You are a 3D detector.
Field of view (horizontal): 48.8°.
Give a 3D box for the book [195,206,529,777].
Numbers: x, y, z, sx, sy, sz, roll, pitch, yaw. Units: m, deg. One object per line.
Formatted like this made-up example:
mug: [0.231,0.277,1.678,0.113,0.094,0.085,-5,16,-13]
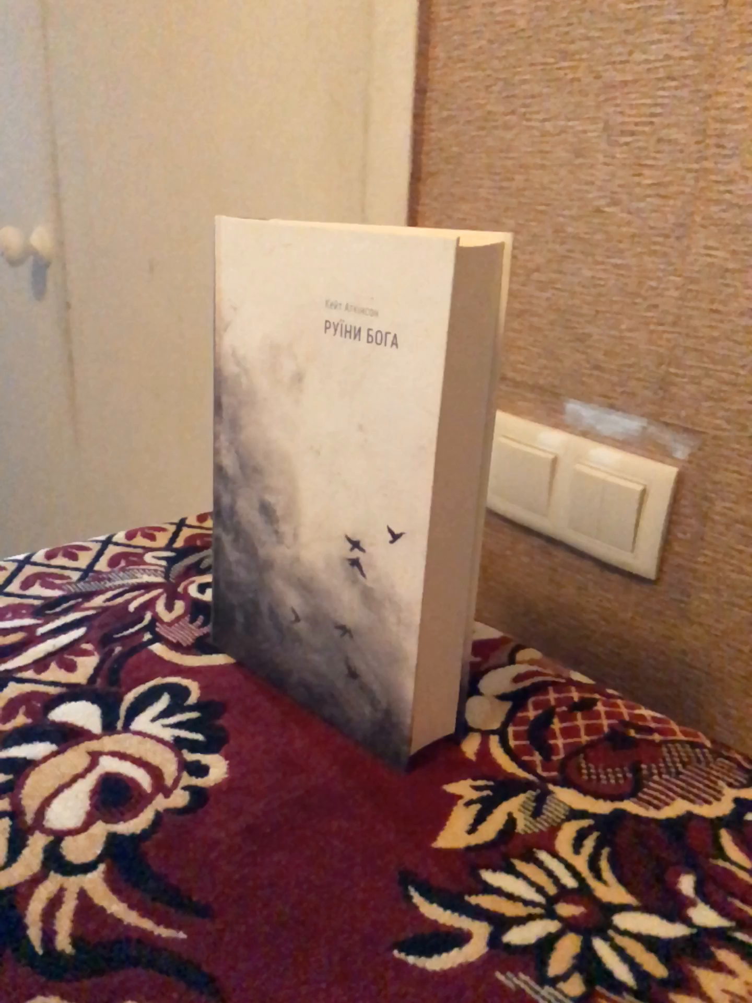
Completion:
book: [-0.020,-0.014,0.364,0.040,0.210,0.150,-13,25,-43]
